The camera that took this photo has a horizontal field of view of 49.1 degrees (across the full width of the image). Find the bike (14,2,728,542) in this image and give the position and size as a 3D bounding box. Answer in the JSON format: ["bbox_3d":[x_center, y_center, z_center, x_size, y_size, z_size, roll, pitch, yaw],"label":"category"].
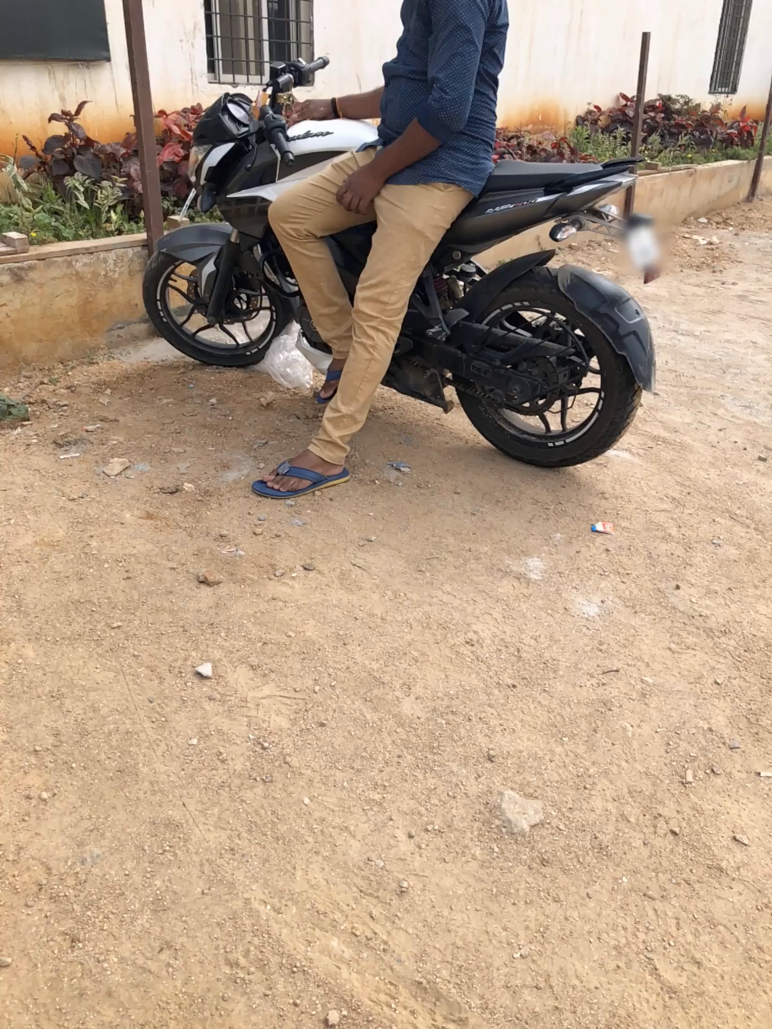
[{"bbox_3d":[-0.076,-0.851,2.638,1.848,1.122,0.784,18,31,23],"label":"bike"}]
